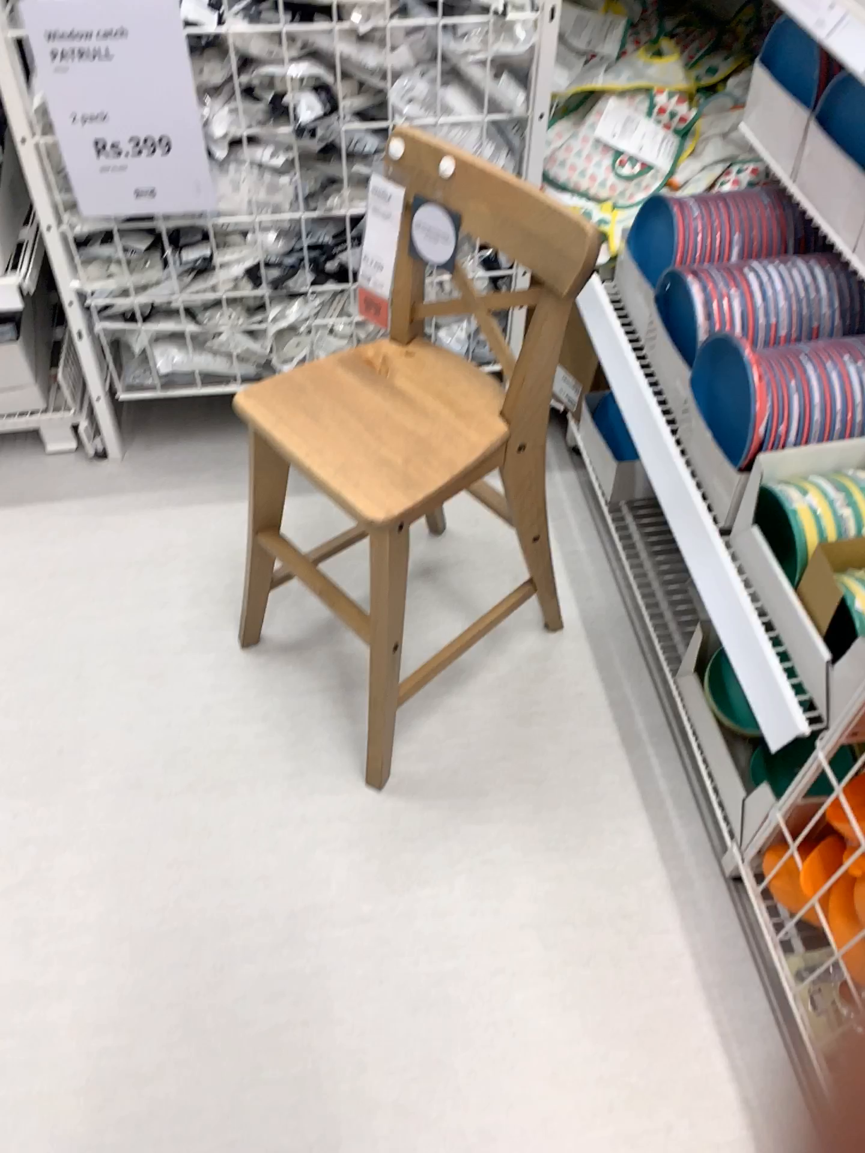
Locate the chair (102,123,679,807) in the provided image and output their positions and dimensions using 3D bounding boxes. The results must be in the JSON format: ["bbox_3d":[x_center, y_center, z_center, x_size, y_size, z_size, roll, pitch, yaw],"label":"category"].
[{"bbox_3d":[-0.044,-0.121,1.172,0.461,0.687,0.381,-36,59,-27],"label":"chair"}]
